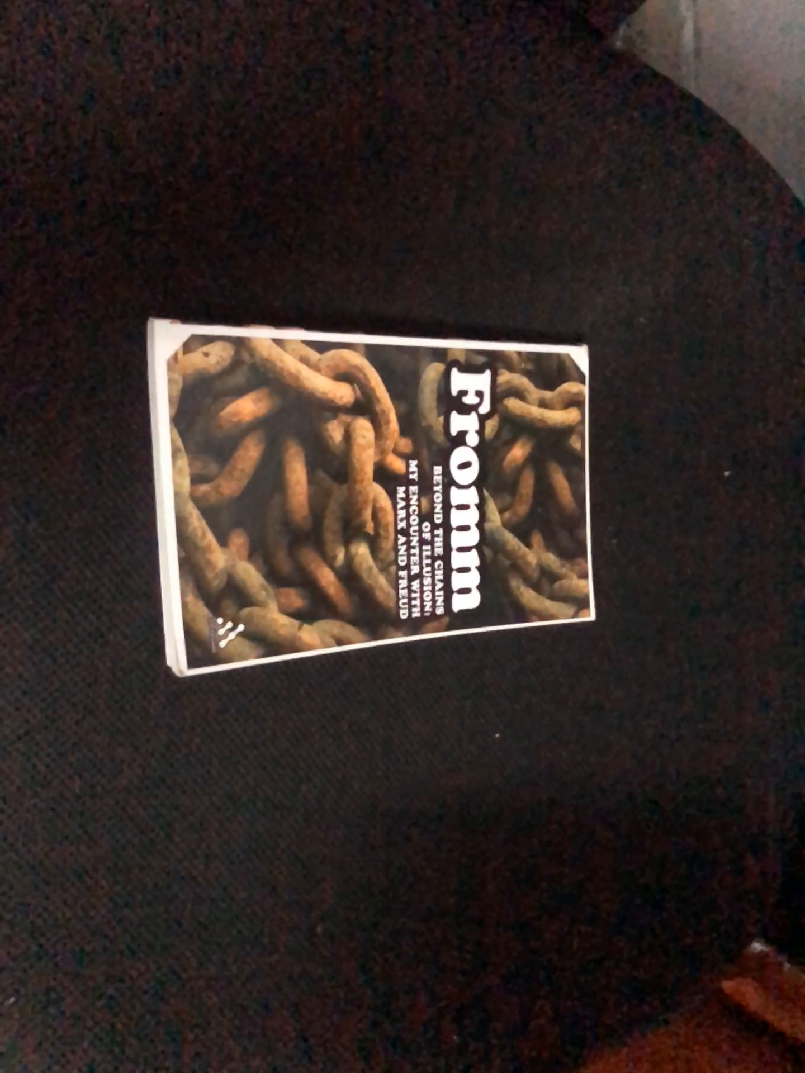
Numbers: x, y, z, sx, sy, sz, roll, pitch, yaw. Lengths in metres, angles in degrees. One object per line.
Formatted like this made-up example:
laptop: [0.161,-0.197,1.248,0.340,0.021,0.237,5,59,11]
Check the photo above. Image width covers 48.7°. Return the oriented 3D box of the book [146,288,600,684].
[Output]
book: [-0.004,-0.020,0.371,0.195,0.016,0.144,-1,90,-25]
